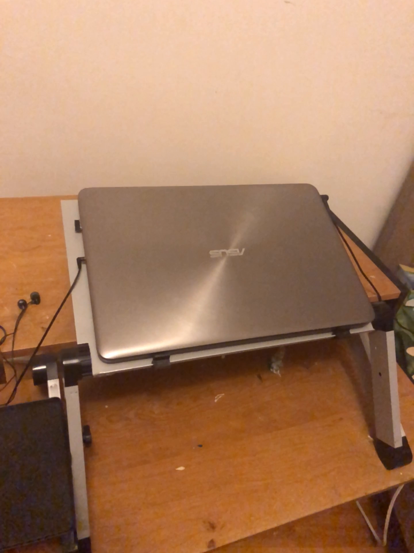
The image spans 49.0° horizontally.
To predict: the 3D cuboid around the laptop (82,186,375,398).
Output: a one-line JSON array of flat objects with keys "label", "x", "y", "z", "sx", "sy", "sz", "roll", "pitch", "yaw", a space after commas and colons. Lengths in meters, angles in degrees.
[{"label": "laptop", "x": 0.021, "y": 0.000, "z": 0.650, "sx": 0.362, "sy": 0.071, "sz": 0.250, "roll": -5, "pitch": 57, "yaw": -18}]
